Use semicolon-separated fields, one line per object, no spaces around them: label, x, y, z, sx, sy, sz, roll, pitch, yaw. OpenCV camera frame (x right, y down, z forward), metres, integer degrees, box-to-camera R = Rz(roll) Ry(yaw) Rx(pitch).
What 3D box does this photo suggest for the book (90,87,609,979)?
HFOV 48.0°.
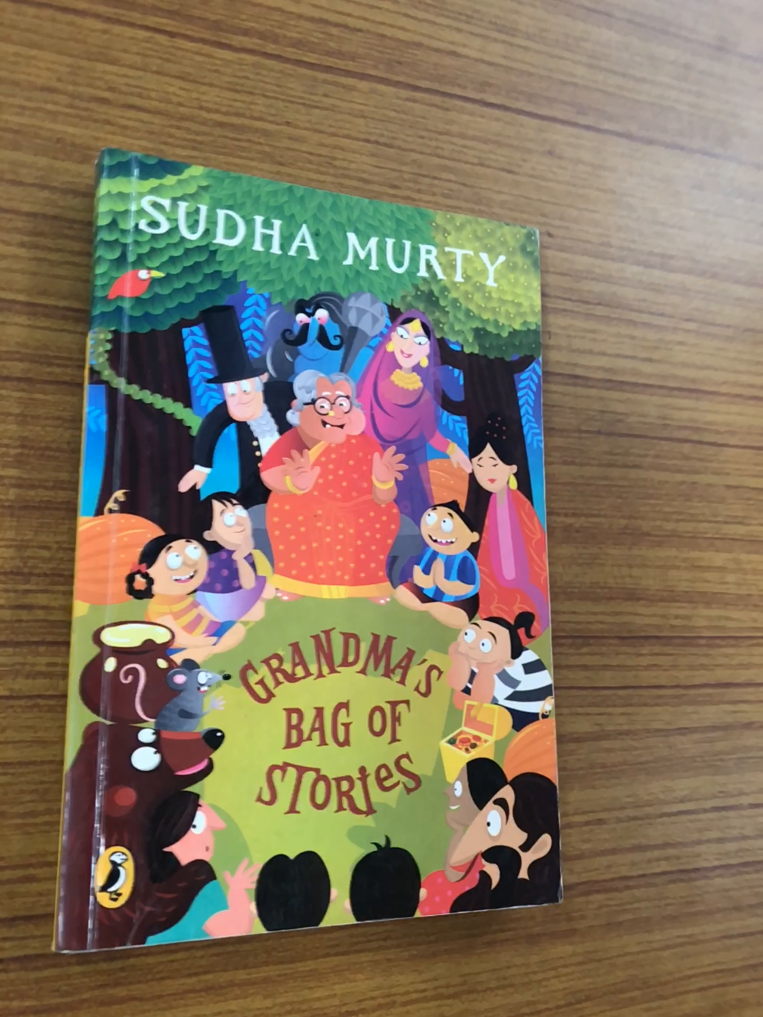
book;-0.007;0.003;0.236;0.130;0.030;0.210;3;81;-20
